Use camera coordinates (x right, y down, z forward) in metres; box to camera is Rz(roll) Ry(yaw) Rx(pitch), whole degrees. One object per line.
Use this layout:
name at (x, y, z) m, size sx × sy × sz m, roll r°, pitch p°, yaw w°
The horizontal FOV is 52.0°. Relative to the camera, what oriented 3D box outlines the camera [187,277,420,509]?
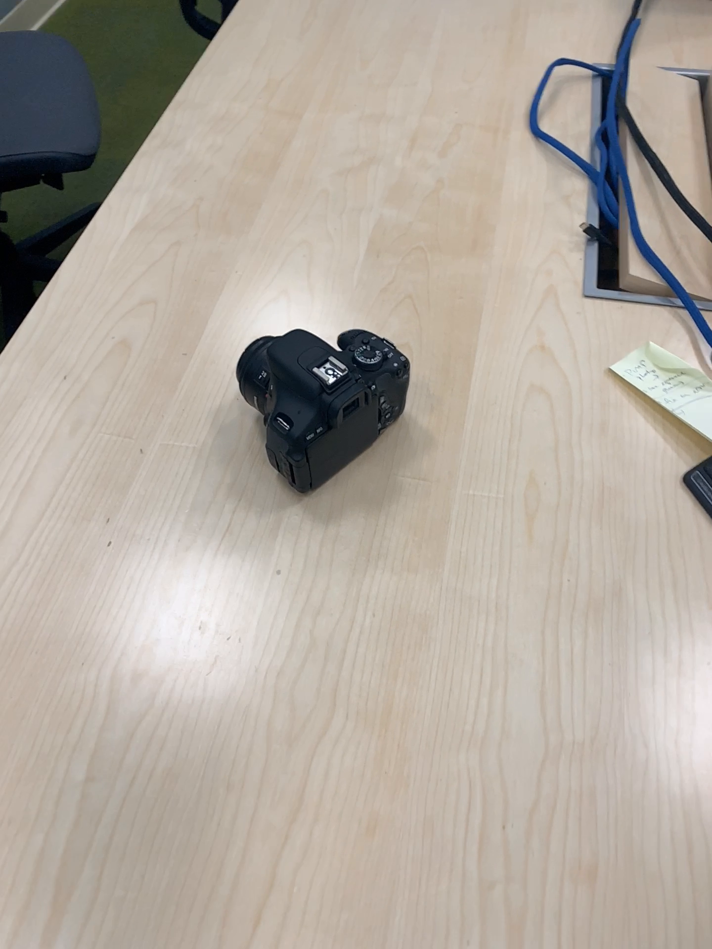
camera at (-0.040, -0.070, 0.603) m, size 0.128 × 0.085 × 0.129 m, roll 38°, pitch 63°, yaw 26°
